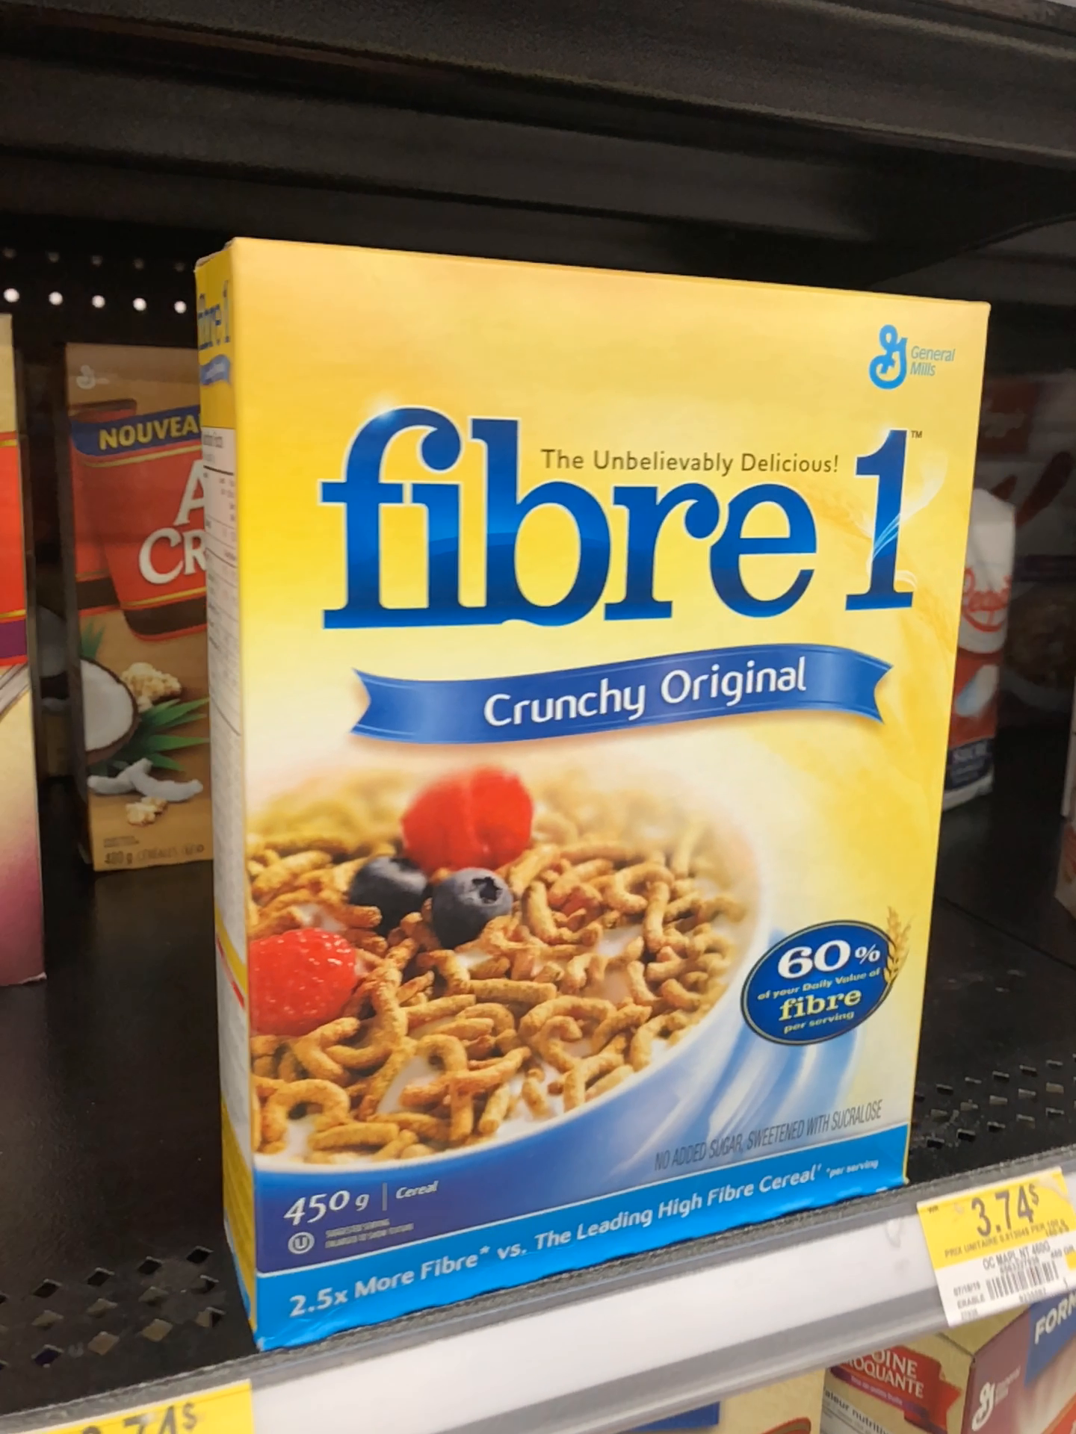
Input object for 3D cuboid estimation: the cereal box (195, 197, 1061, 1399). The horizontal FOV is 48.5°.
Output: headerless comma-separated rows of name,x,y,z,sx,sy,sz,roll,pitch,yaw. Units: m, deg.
cereal box,0.021,0.018,0.312,0.200,0.259,0.060,-3,13,-22
